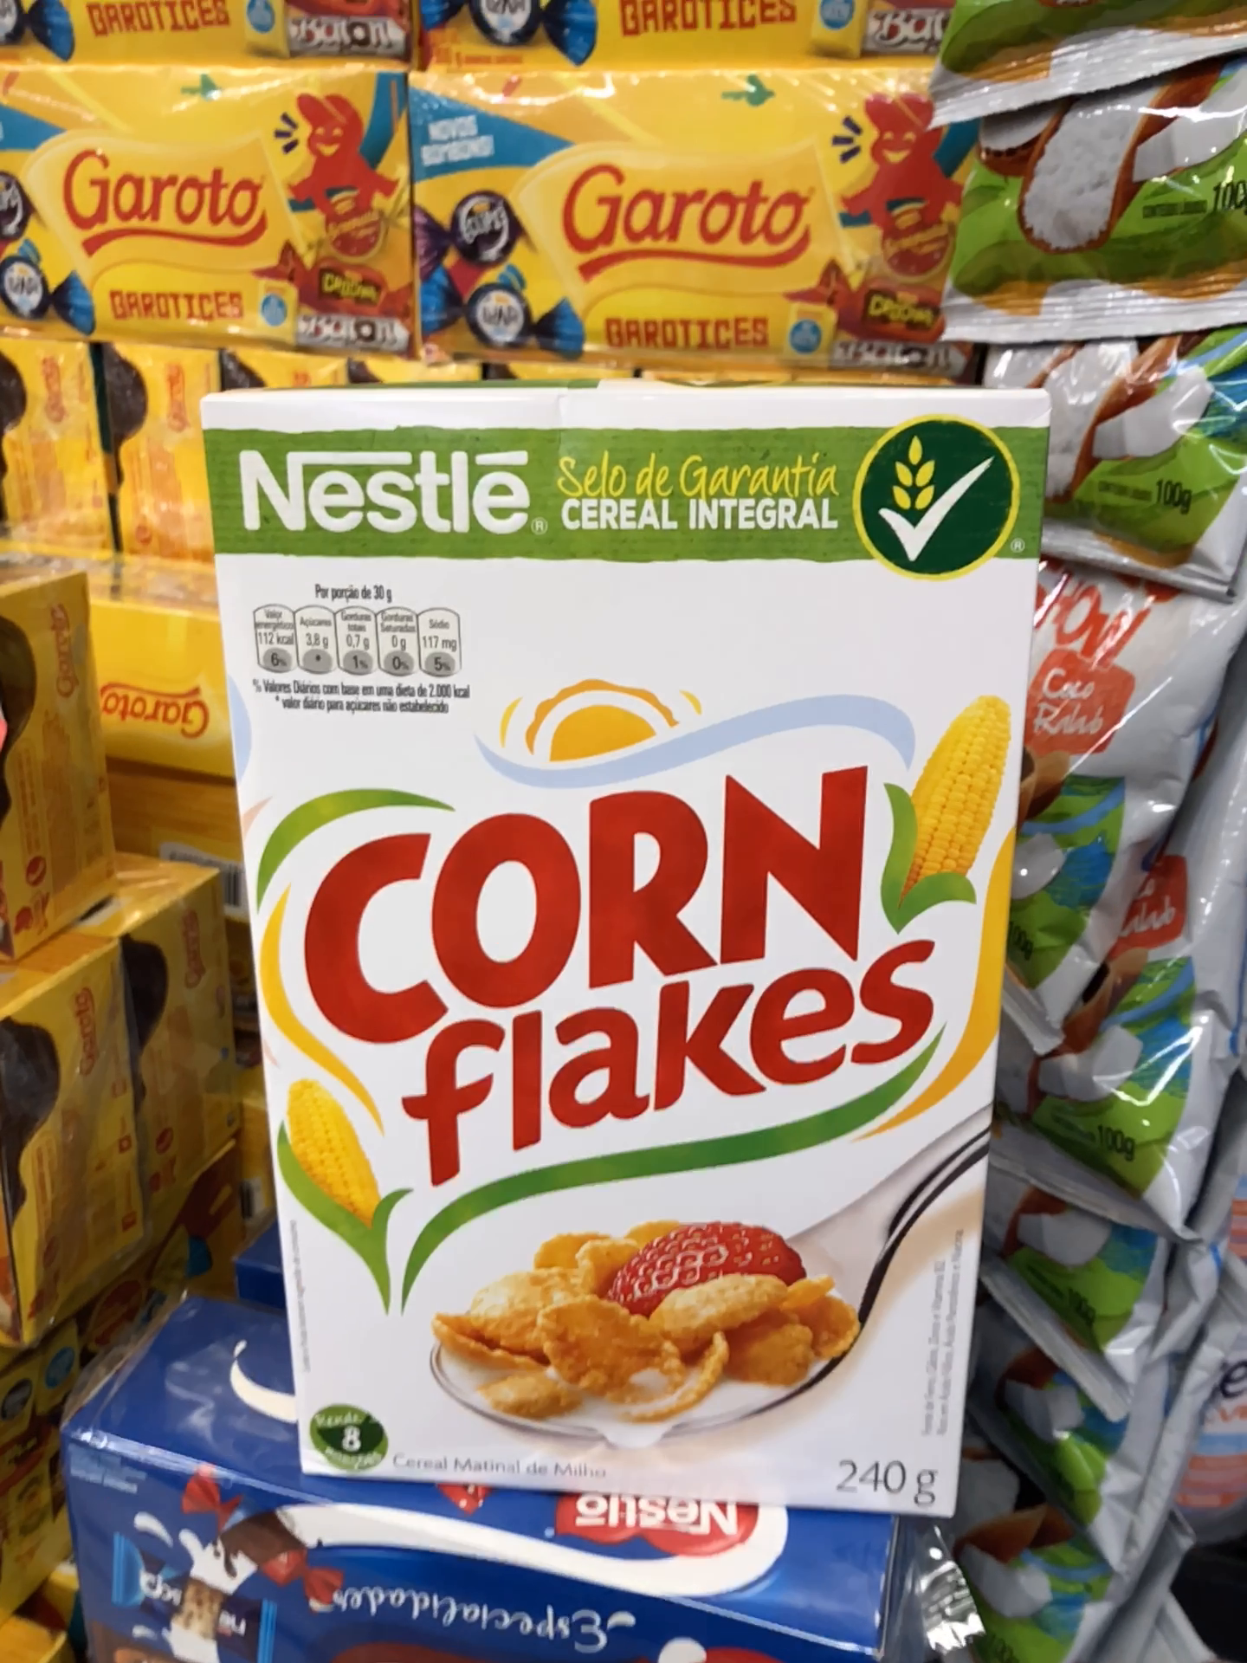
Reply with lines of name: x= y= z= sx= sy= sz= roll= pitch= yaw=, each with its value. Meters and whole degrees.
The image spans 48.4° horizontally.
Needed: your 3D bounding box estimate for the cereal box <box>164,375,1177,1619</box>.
cereal box: x=0.006 y=0.035 z=0.297 sx=0.170 sy=0.249 sz=0.060 roll=3 pitch=17 yaw=6
